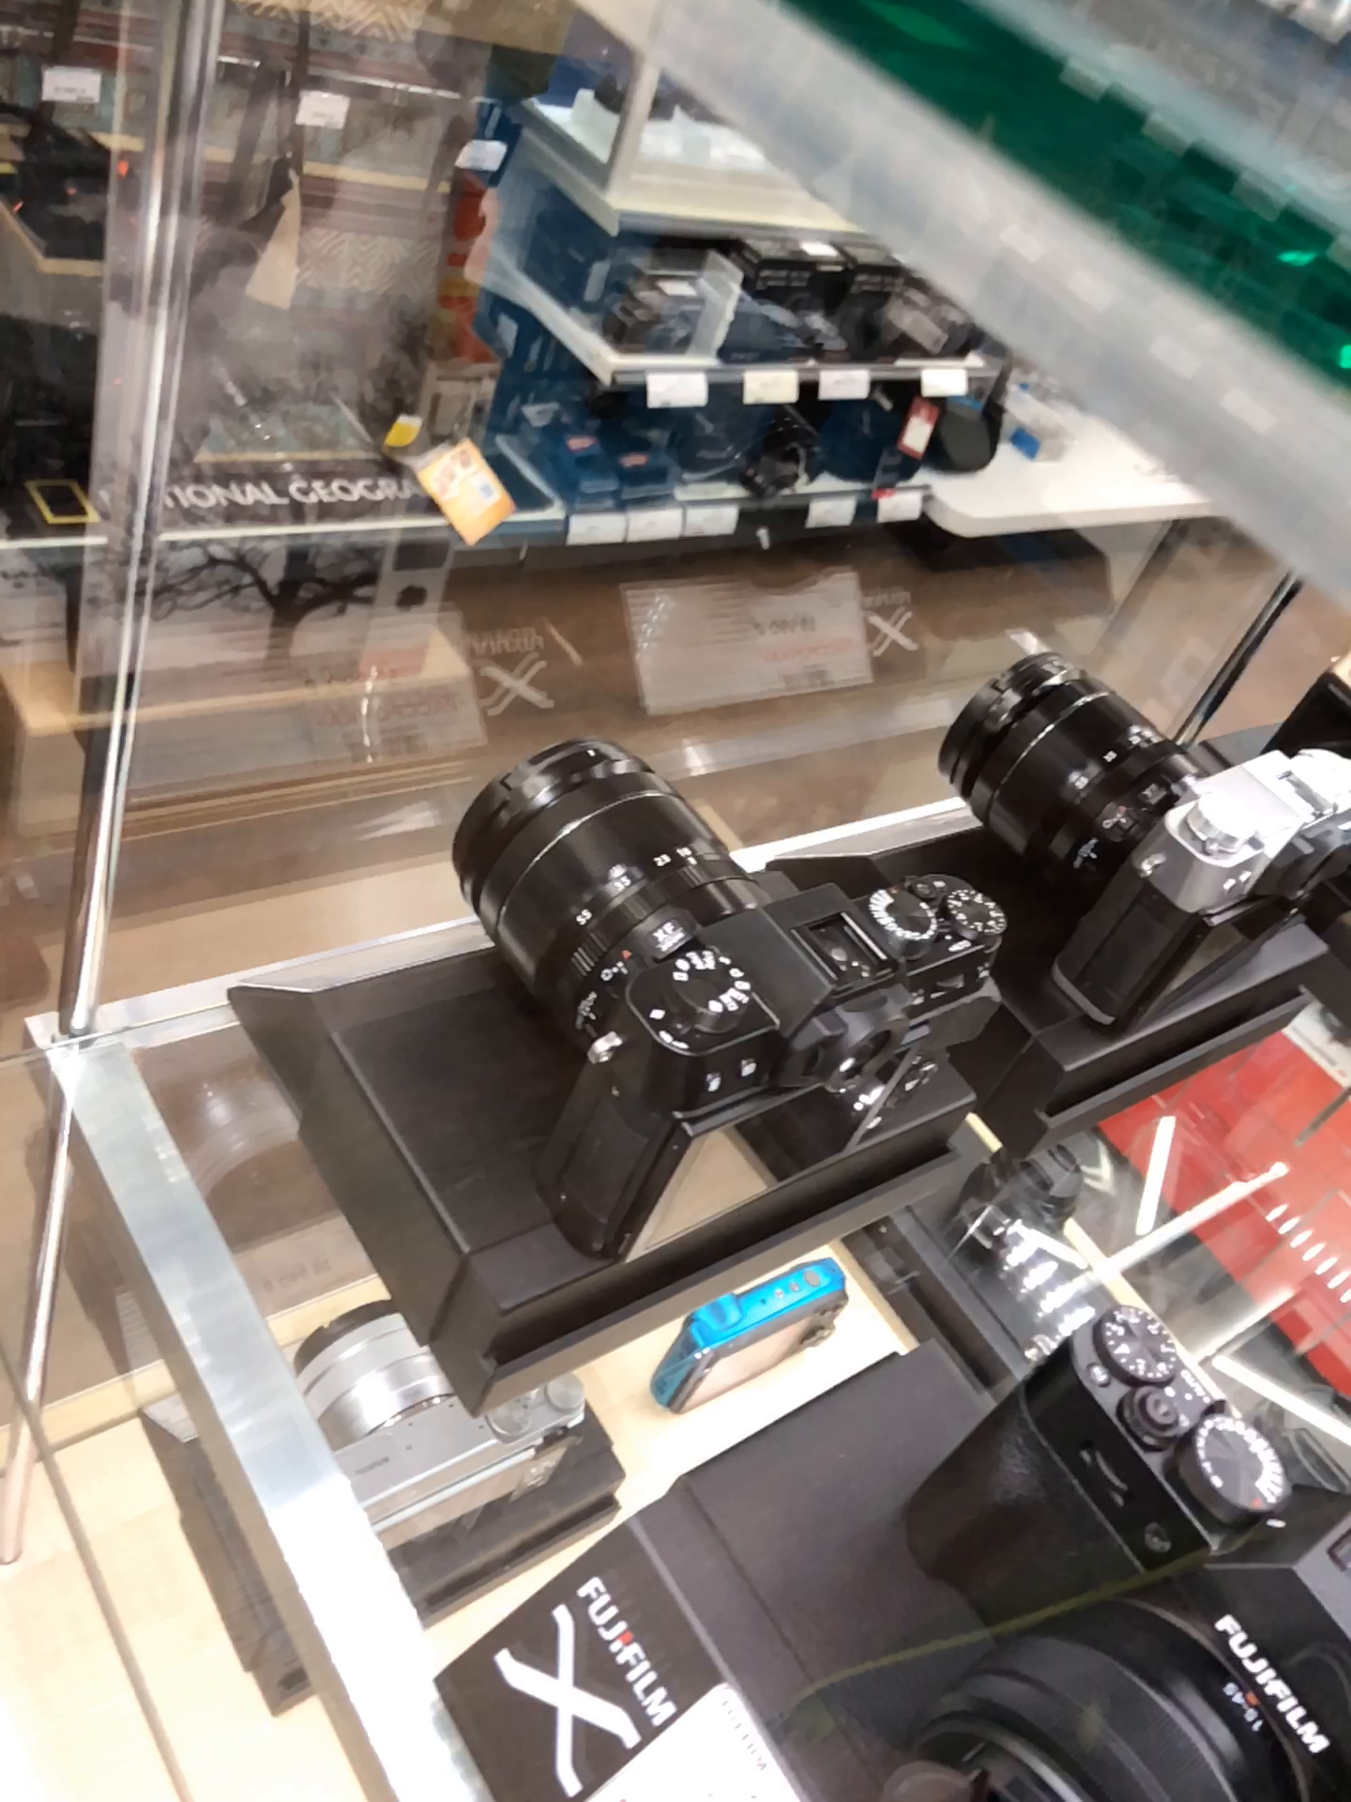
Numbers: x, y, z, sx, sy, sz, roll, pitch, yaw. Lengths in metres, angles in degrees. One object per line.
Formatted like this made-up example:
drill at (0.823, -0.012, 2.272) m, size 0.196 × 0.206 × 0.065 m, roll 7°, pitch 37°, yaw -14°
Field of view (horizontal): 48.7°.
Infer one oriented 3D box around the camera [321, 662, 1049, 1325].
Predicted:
camera at (-0.001, 0.015, 0.383) m, size 0.121 × 0.081 × 0.121 m, roll -15°, pitch 54°, yaw -39°
